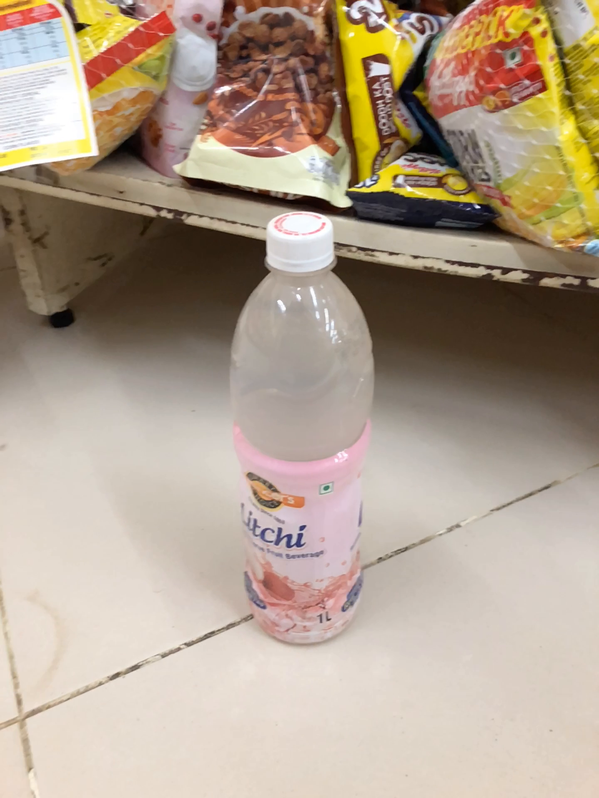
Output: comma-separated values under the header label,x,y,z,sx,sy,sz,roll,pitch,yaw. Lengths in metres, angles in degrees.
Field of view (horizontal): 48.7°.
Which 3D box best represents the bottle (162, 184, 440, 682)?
label,x,y,z,sx,sy,sz,roll,pitch,yaw
bottle,0.004,0.028,0.339,0.080,0.238,0.081,-1,37,0
